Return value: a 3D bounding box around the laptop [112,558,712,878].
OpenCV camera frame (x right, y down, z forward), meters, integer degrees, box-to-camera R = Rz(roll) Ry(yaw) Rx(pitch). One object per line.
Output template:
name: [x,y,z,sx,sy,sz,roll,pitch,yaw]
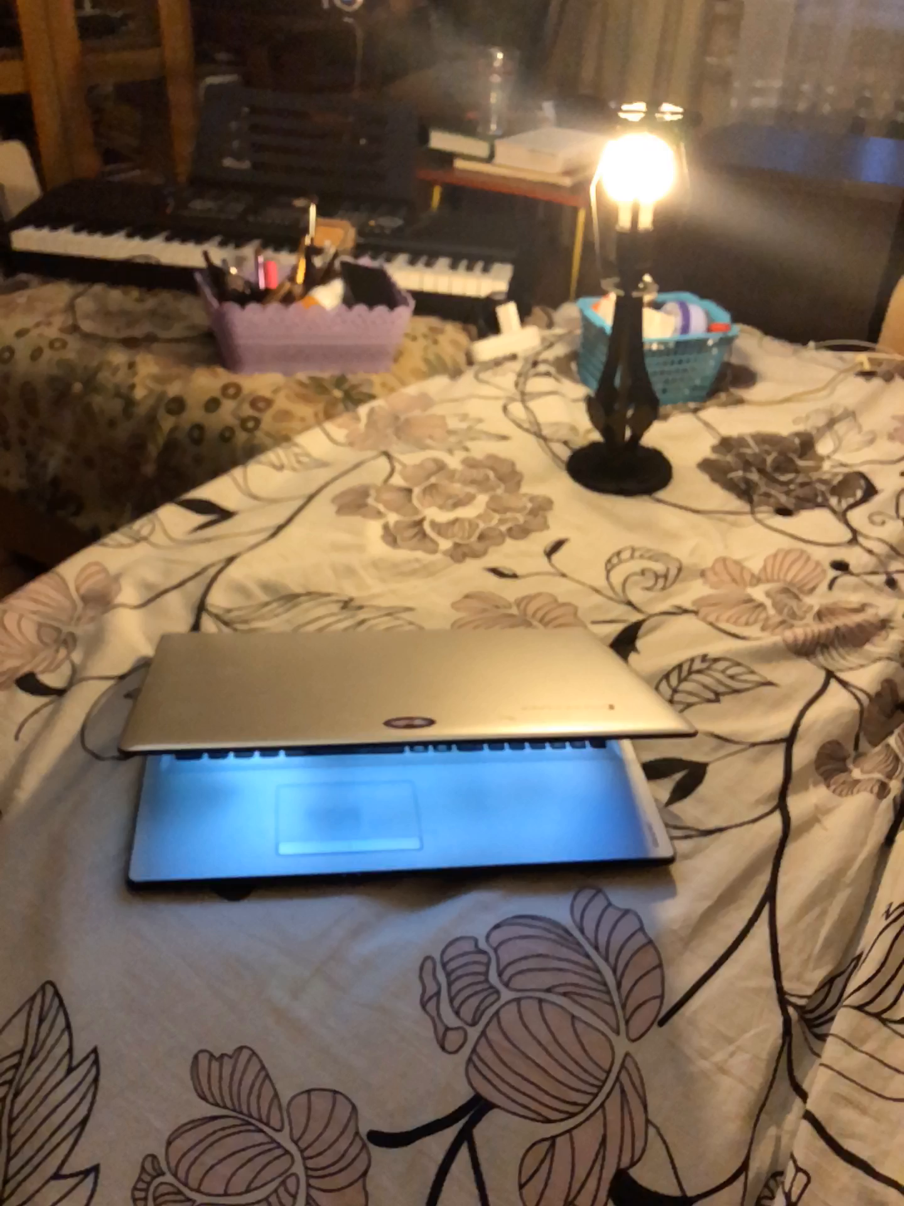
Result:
laptop: [-0.040,0.071,0.764,0.380,0.082,0.257,-1,34,-7]
